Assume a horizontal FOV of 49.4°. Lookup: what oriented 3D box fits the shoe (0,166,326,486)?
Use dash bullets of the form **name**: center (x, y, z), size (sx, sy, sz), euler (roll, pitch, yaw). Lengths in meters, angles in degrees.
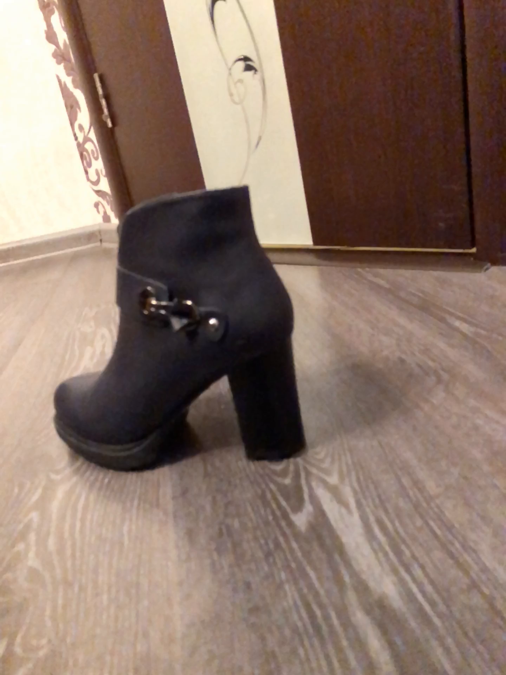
- **shoe**: center (-0.083, -0.007, 0.418), size (0.230, 0.189, 0.111), euler (-3, 22, 23)
